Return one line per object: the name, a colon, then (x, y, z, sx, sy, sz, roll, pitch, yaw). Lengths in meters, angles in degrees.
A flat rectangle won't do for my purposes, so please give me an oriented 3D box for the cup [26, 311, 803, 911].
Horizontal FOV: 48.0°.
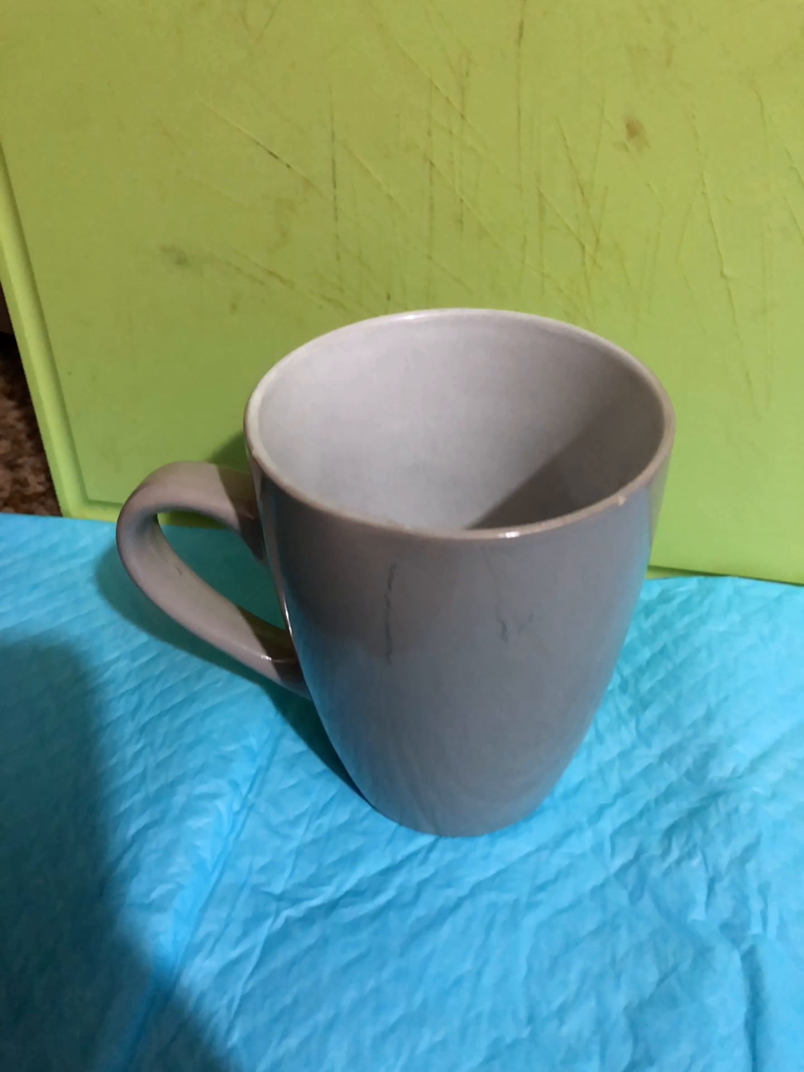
cup: (0.001, 0.014, 0.182, 0.110, 0.090, 0.070, -3, 38, -3)
